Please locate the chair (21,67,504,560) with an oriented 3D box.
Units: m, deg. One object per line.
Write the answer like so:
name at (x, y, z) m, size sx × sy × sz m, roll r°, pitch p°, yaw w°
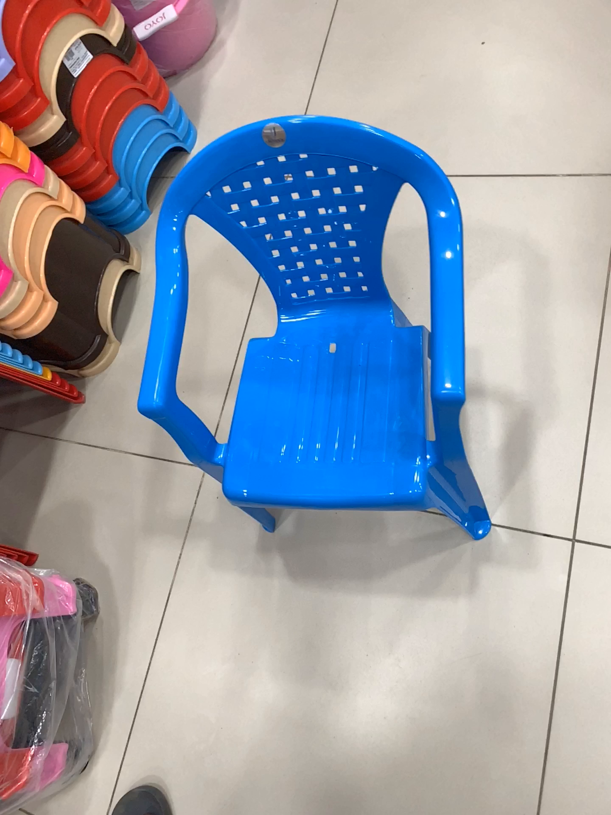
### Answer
chair at (0.031, -0.033, 0.739) m, size 0.371 × 0.499 × 0.340 m, roll -1°, pitch 71°, yaw 20°
